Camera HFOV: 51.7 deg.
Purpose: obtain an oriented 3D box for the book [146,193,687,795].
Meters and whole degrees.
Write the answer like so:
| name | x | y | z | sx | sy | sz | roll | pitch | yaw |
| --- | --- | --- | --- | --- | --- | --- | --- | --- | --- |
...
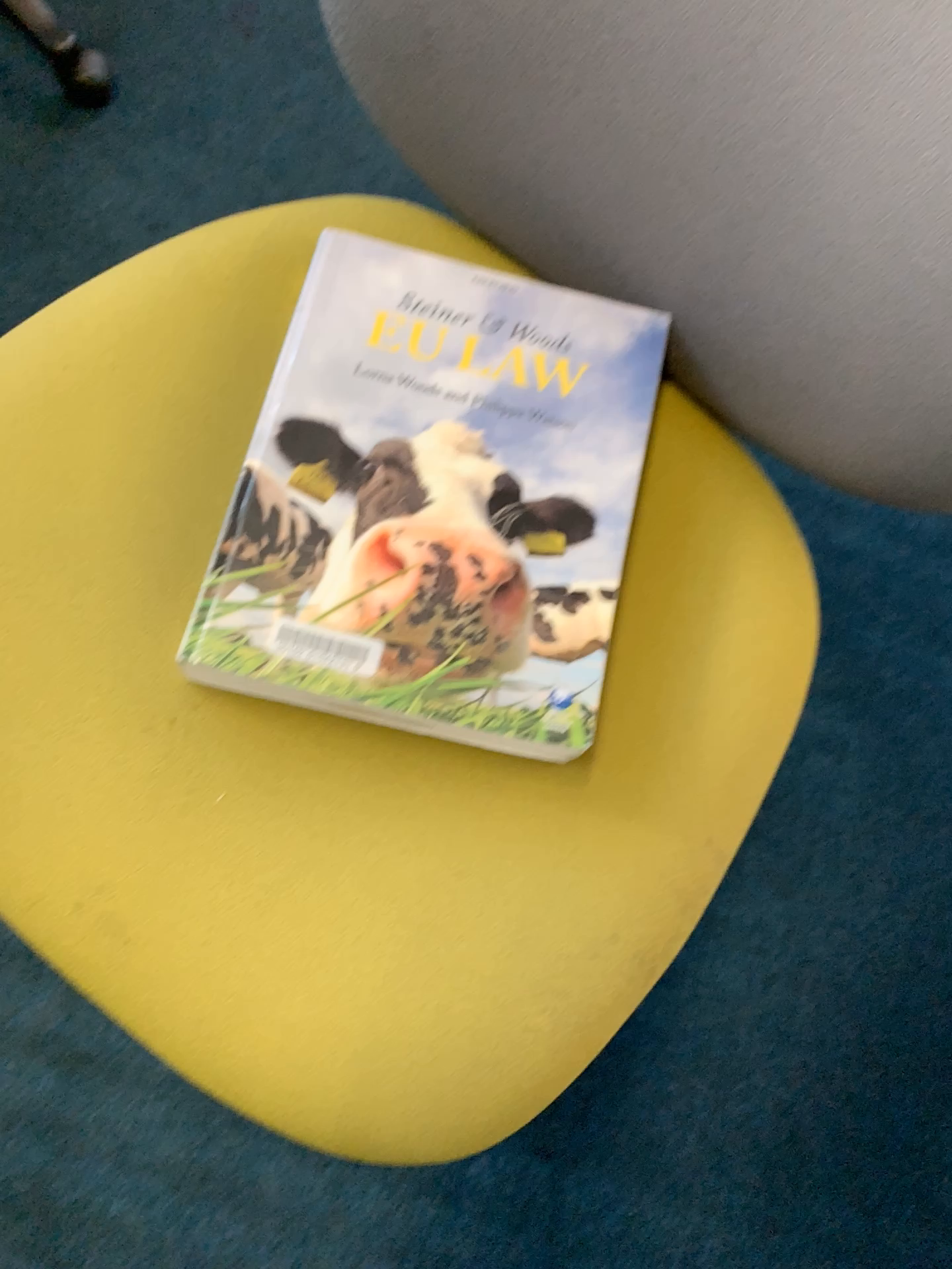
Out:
| name | x | y | z | sx | sy | sz | roll | pitch | yaw |
| --- | --- | --- | --- | --- | --- | --- | --- | --- | --- |
| book | -0.016 | -0.075 | 0.479 | 0.200 | 0.050 | 0.261 | 13 | 69 | -3 |
